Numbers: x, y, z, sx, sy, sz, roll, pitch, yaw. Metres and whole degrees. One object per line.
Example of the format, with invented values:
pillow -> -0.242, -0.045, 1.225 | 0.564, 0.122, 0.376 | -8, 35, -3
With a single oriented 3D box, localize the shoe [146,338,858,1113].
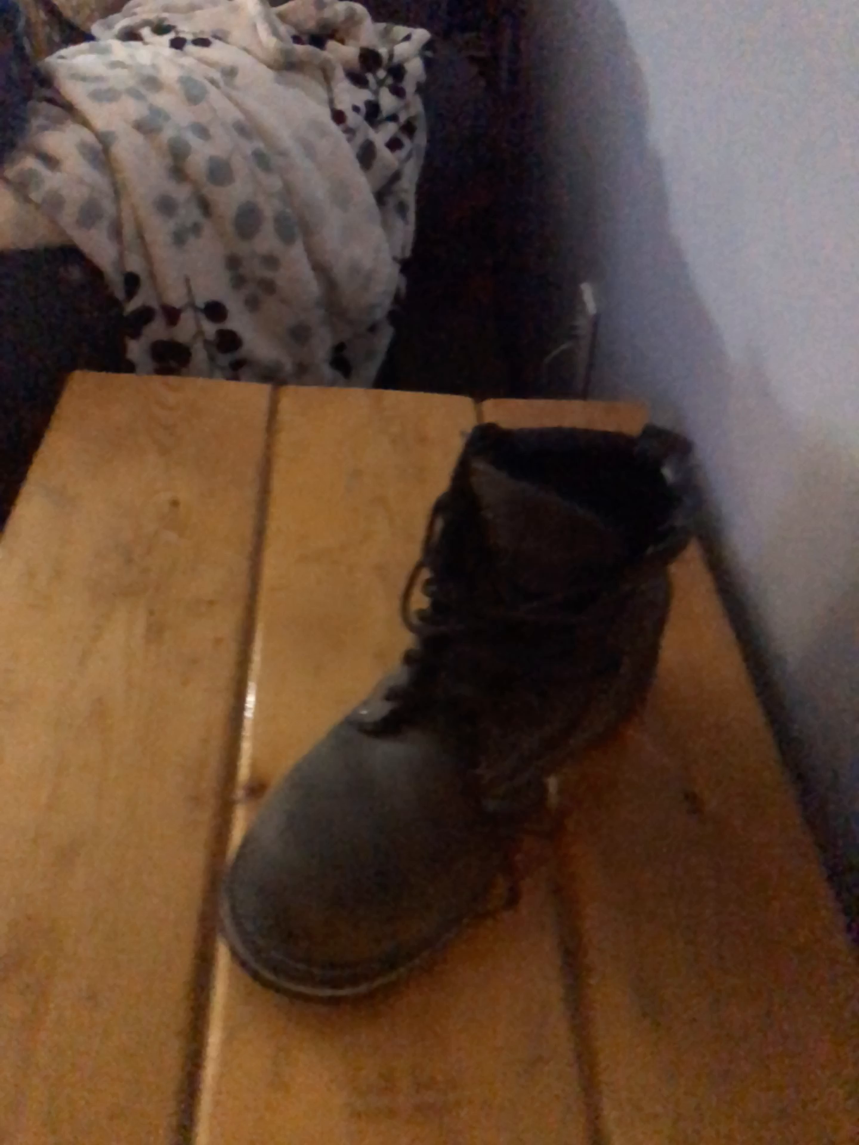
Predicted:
shoe -> 0.049, 0.049, 0.452 | 0.130, 0.189, 0.320 | 34, 49, 27
